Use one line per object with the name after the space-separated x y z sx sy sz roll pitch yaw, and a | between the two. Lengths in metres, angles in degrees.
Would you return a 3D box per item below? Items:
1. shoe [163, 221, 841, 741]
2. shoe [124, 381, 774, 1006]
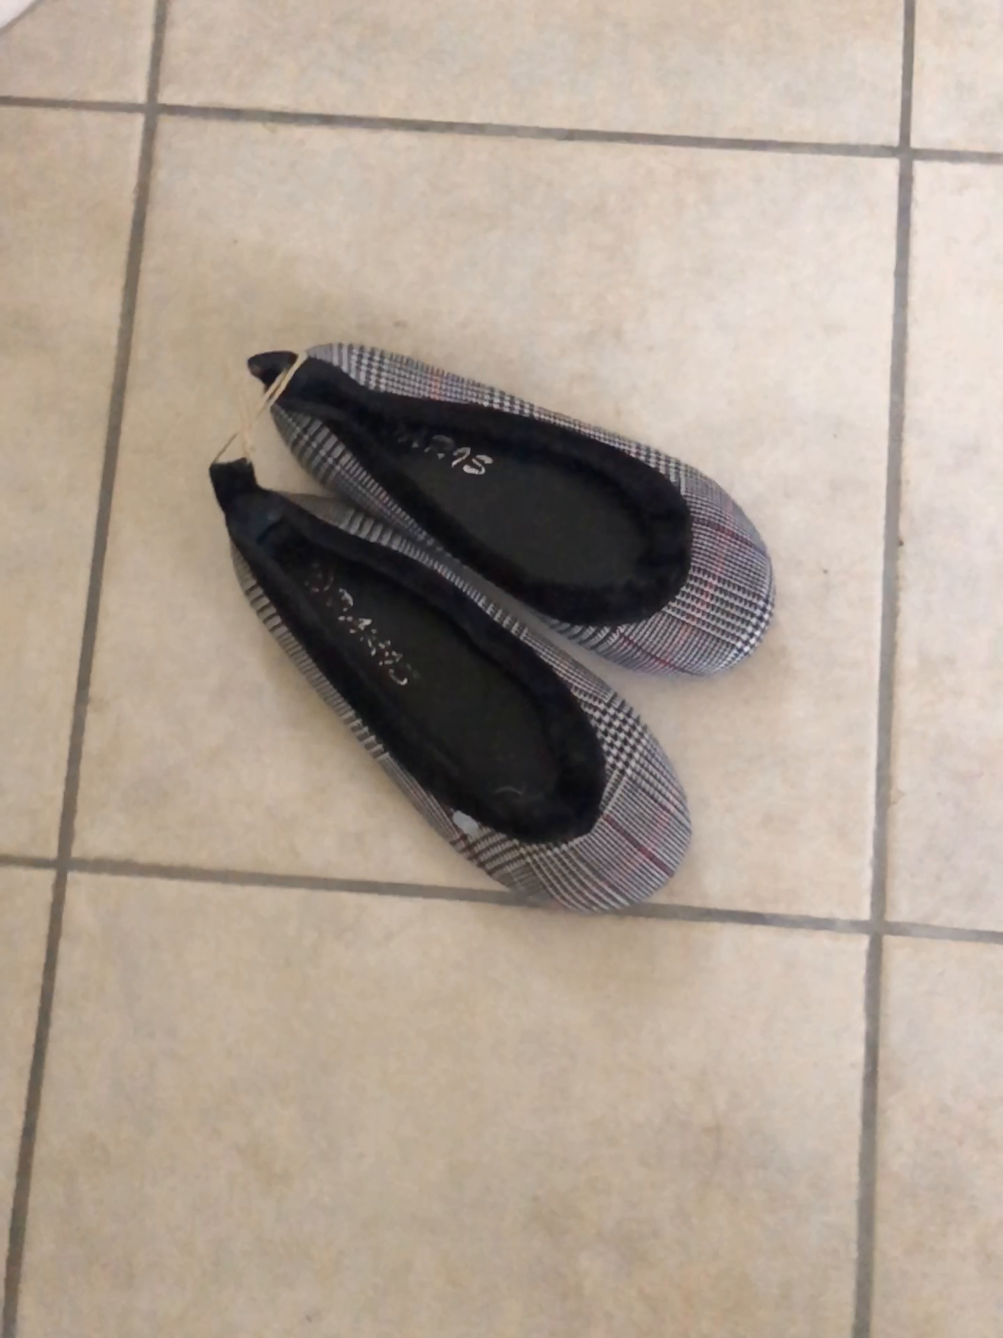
0.000 -0.064 0.405 0.210 0.070 0.090 27 84 4 | shoe
-0.018 0.008 0.399 0.210 0.070 0.090 42 86 6 | shoe
